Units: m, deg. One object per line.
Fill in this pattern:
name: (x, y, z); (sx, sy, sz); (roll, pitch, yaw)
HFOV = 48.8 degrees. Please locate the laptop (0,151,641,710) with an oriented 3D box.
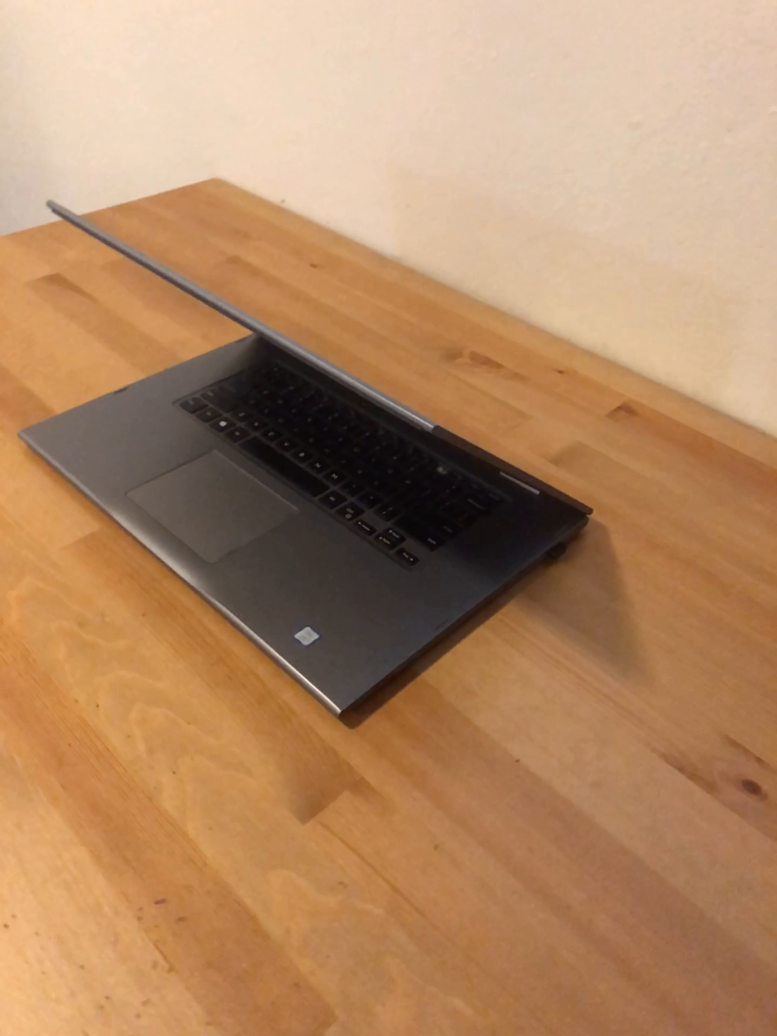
laptop: (-0.071, -0.097, 0.597); (0.376, 0.165, 0.247); (33, 49, 31)
